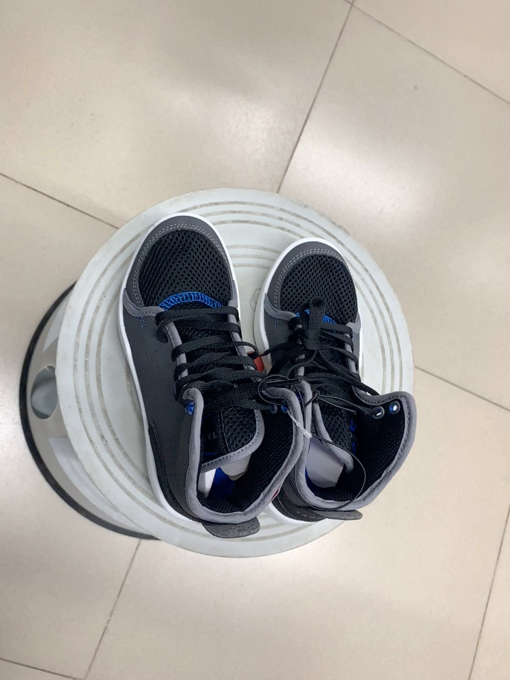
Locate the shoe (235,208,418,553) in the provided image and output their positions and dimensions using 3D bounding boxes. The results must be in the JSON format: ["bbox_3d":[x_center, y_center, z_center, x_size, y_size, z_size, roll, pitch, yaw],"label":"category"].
[{"bbox_3d":[0.045,0.031,0.371,0.080,0.120,0.200,6,80,-16],"label":"shoe"}]

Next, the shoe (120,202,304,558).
[{"bbox_3d":[-0.037,0.023,0.355,0.090,0.100,0.200,-3,83,-17],"label":"shoe"}]
